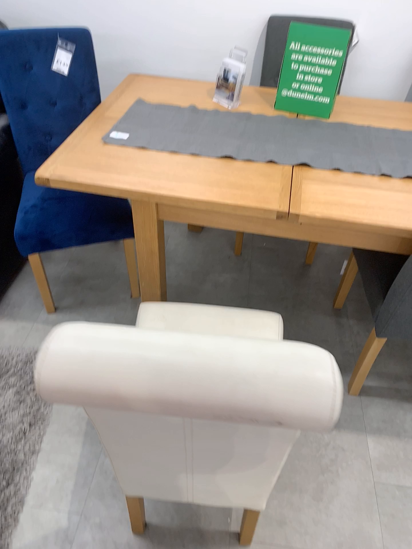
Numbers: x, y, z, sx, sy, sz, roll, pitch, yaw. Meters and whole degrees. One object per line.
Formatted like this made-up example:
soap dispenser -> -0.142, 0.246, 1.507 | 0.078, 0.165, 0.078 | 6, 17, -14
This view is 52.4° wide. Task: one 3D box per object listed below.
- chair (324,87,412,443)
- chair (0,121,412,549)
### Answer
chair -> 0.730, 0.004, 1.315 | 0.483, 0.905, 0.587 | 7, 44, 5
chair -> 0.023, 0.244, 0.969 | 0.513, 0.935, 0.597 | 5, 44, 3
